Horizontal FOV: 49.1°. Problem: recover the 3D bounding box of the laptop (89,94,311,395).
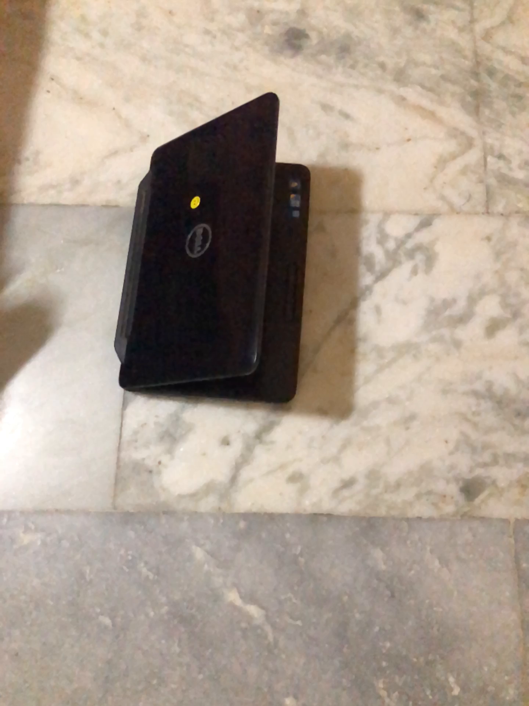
[{"bbox_3d":[-0.067,-0.138,0.762,0.234,0.161,0.351,3,73,2],"label":"laptop"}]
